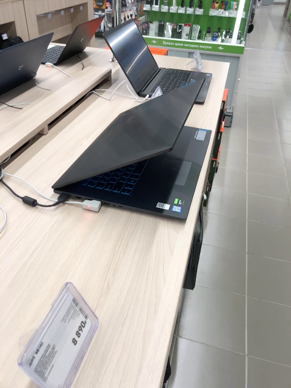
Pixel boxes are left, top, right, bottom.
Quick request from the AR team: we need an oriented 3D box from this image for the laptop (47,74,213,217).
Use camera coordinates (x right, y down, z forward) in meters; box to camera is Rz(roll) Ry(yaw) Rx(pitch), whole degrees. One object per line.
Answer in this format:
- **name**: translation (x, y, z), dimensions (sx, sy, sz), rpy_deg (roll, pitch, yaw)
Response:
- **laptop**: translation (-0.004, -0.146, 0.748), dimensions (0.271, 0.129, 0.392), rpy_deg (12, 36, 10)
